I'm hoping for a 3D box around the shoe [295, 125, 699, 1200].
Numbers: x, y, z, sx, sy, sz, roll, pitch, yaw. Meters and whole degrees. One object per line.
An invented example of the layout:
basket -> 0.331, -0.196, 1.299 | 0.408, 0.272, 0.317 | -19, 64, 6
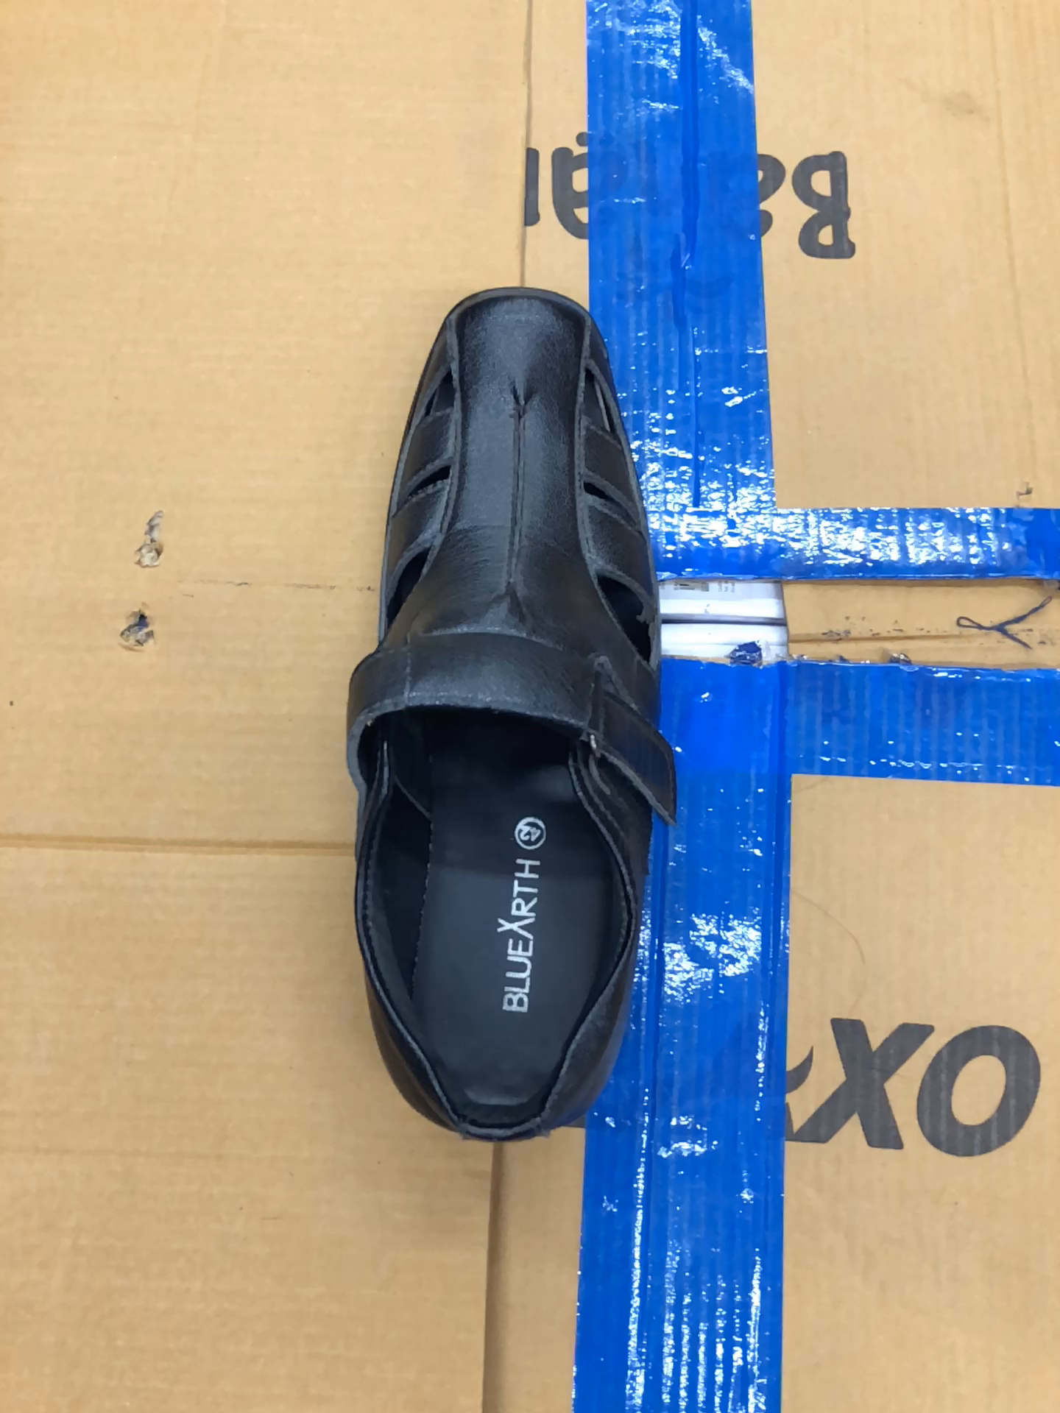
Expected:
shoe -> -0.007, -0.017, 0.369 | 0.100, 0.097, 0.304 | 0, 78, 1
